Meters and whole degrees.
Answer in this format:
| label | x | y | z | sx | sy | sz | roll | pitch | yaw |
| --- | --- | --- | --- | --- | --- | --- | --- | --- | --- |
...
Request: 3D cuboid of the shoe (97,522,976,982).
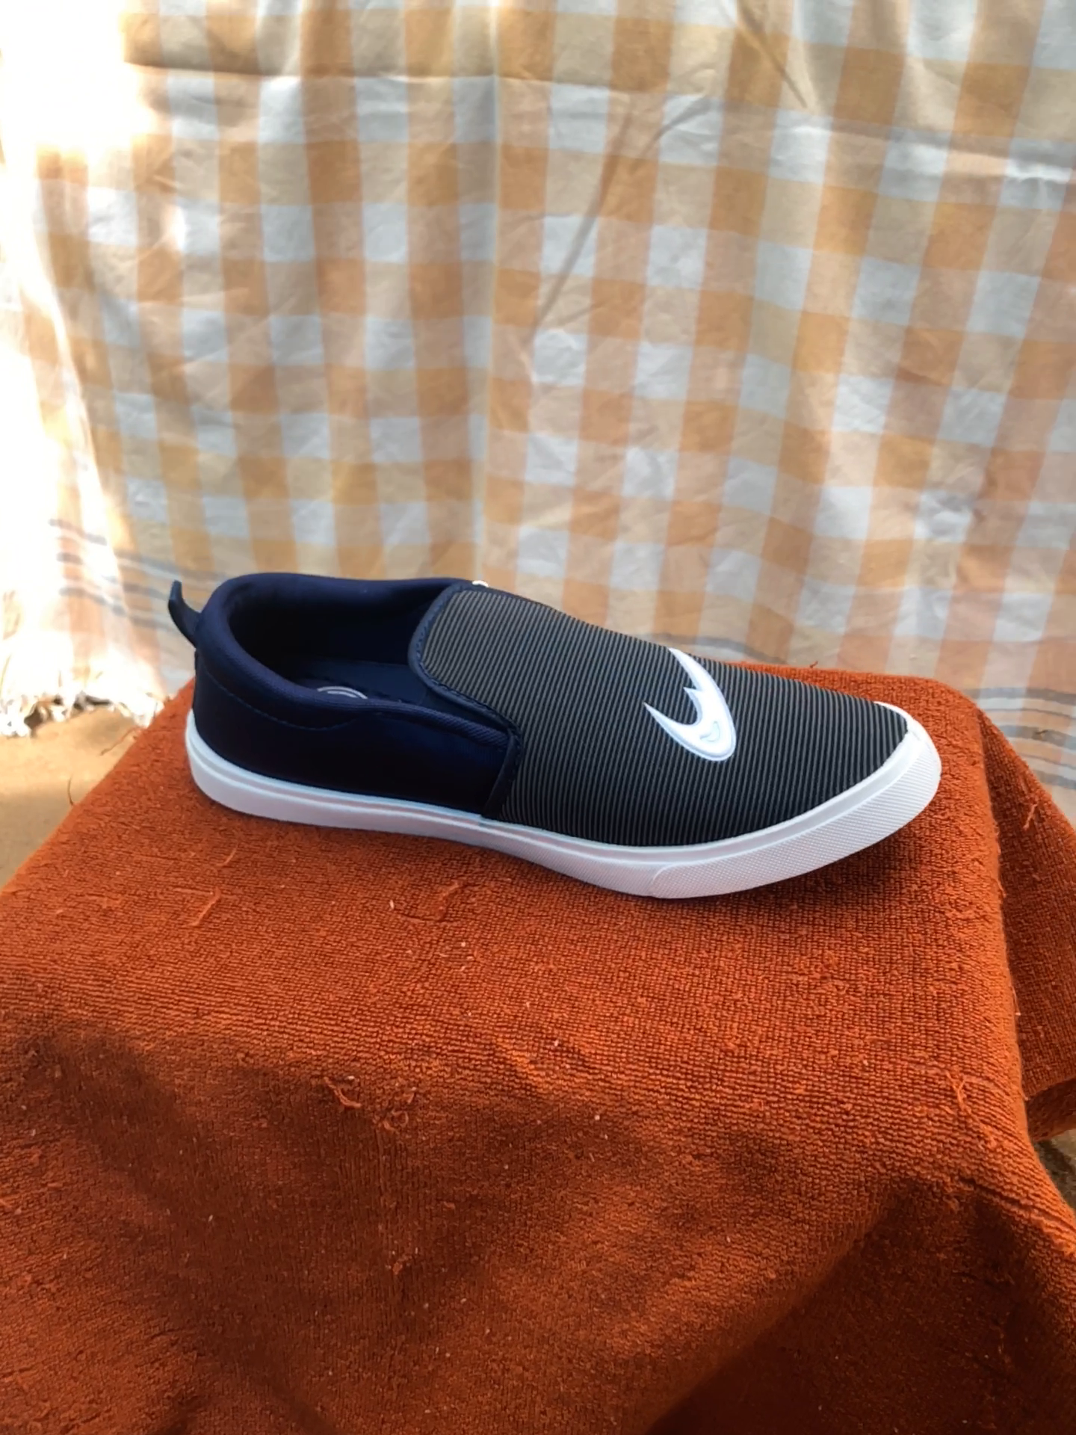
| label | x | y | z | sx | sy | sz | roll | pitch | yaw |
| --- | --- | --- | --- | --- | --- | --- | --- | --- | --- |
| shoe | 0.000 | 0.002 | 0.451 | 0.300 | 0.080 | 0.101 | 10 | 34 | 15 |
